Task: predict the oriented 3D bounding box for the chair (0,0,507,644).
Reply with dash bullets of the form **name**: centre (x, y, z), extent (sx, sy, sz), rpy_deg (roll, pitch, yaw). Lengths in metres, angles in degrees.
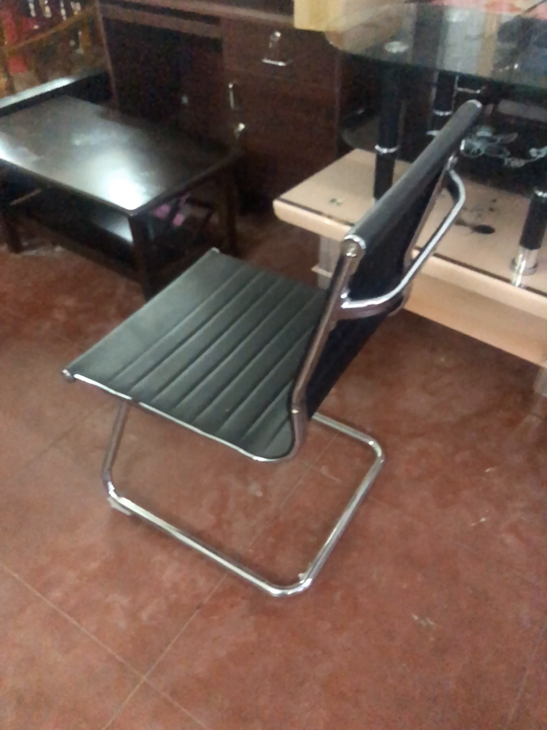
- **chair**: centre (-0.091, -0.100, 1.135), extent (0.680, 0.856, 0.593), rpy_deg (22, 47, 24)
